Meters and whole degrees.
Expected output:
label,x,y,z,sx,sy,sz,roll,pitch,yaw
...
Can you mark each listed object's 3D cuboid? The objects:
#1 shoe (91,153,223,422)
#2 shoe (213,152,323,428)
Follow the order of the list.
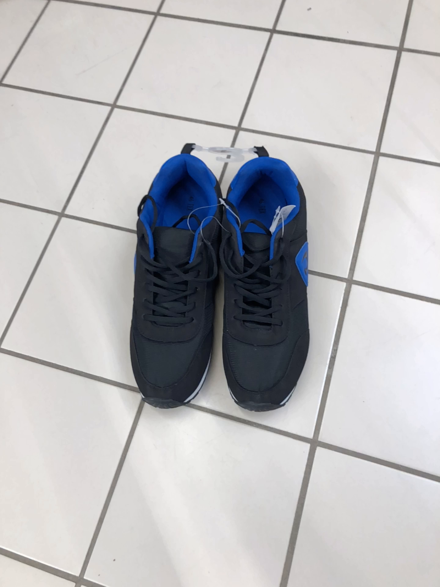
label,x,y,z,sx,sy,sz,roll,pitch,yaw
shoe,-0.059,-0.009,0.563,0.100,0.110,0.291,1,67,6
shoe,0.057,-0.007,0.549,0.100,0.110,0.291,1,67,6
